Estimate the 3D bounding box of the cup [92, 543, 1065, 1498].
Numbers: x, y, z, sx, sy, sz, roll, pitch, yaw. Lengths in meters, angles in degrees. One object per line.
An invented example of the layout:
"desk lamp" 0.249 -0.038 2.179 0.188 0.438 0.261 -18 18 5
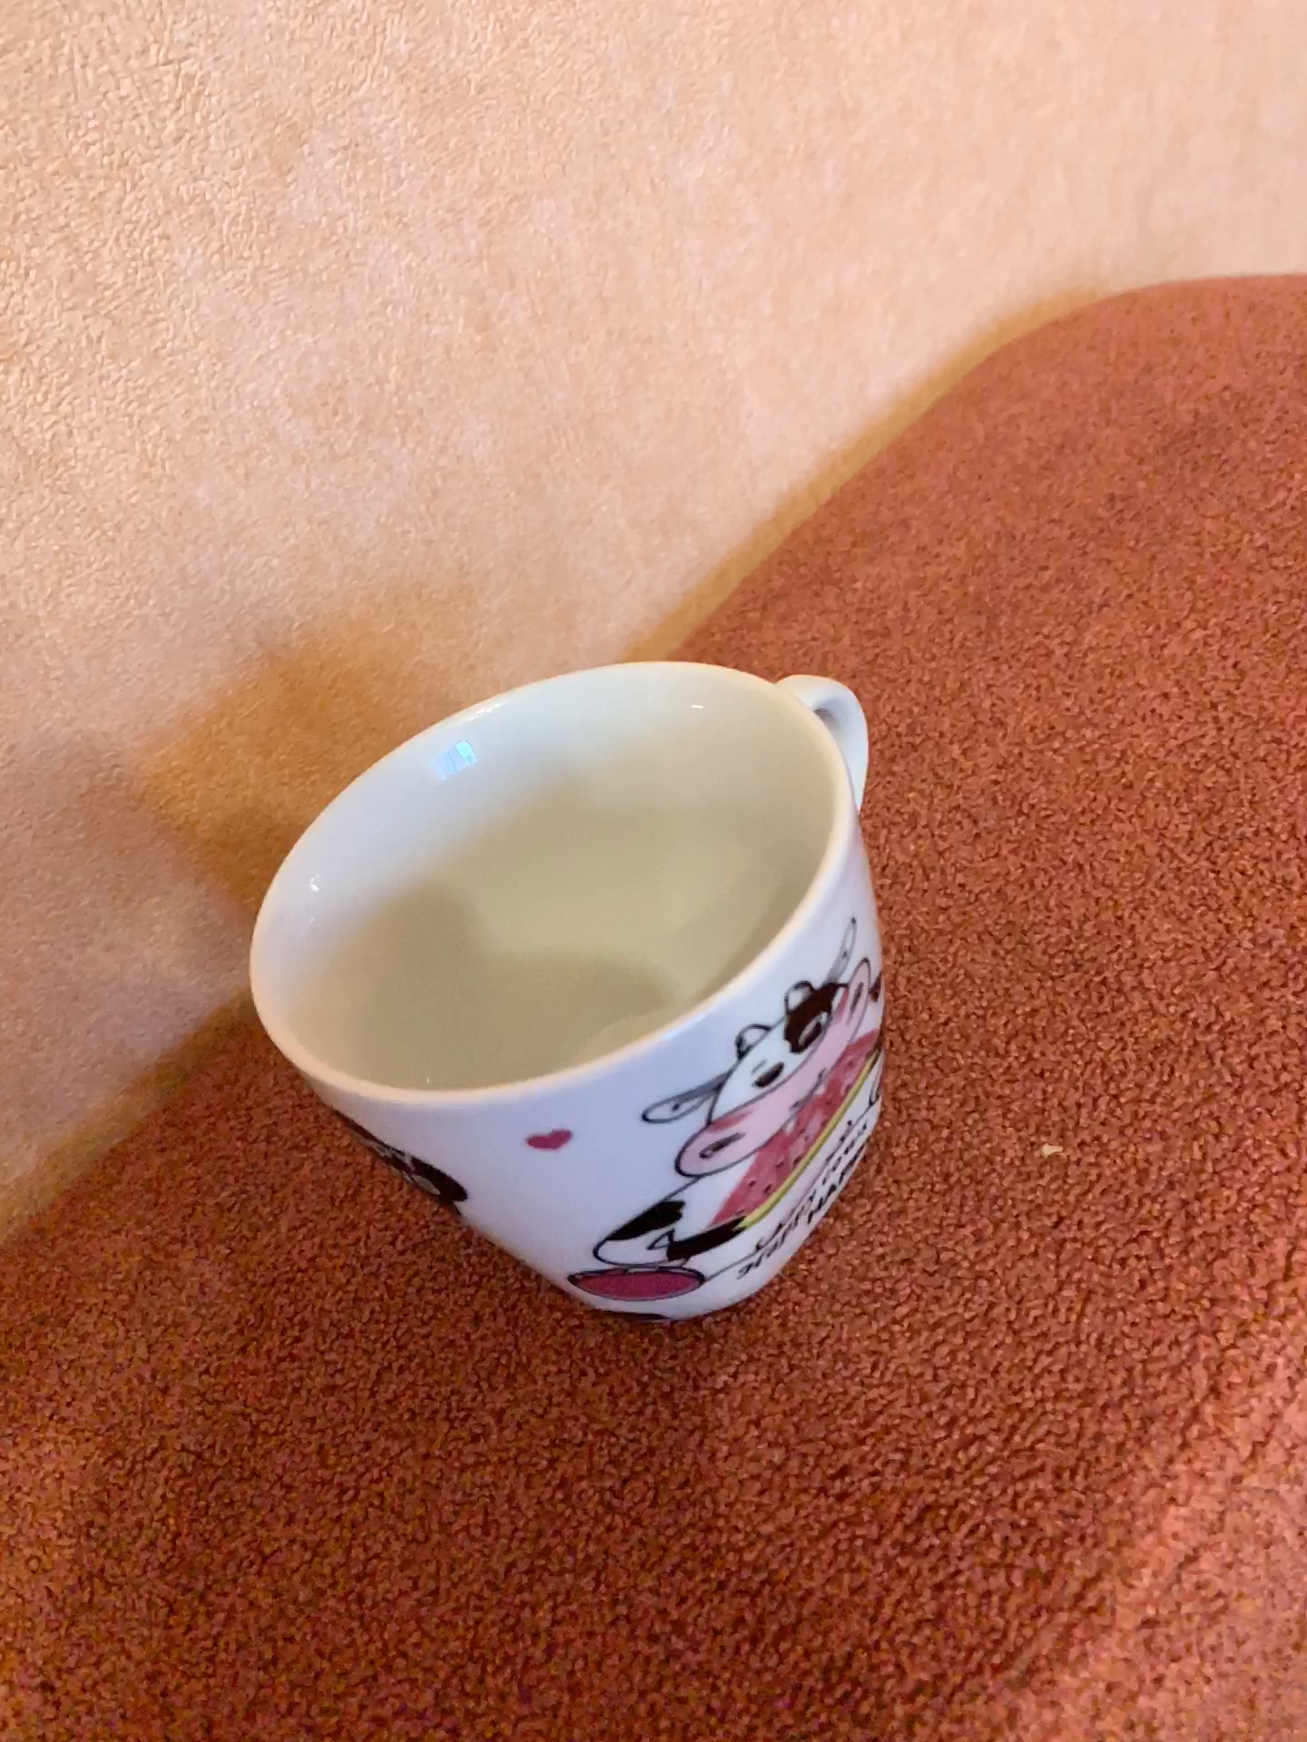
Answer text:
"cup" -0.007 0.012 0.188 0.095 0.056 0.079 -42 45 -21
